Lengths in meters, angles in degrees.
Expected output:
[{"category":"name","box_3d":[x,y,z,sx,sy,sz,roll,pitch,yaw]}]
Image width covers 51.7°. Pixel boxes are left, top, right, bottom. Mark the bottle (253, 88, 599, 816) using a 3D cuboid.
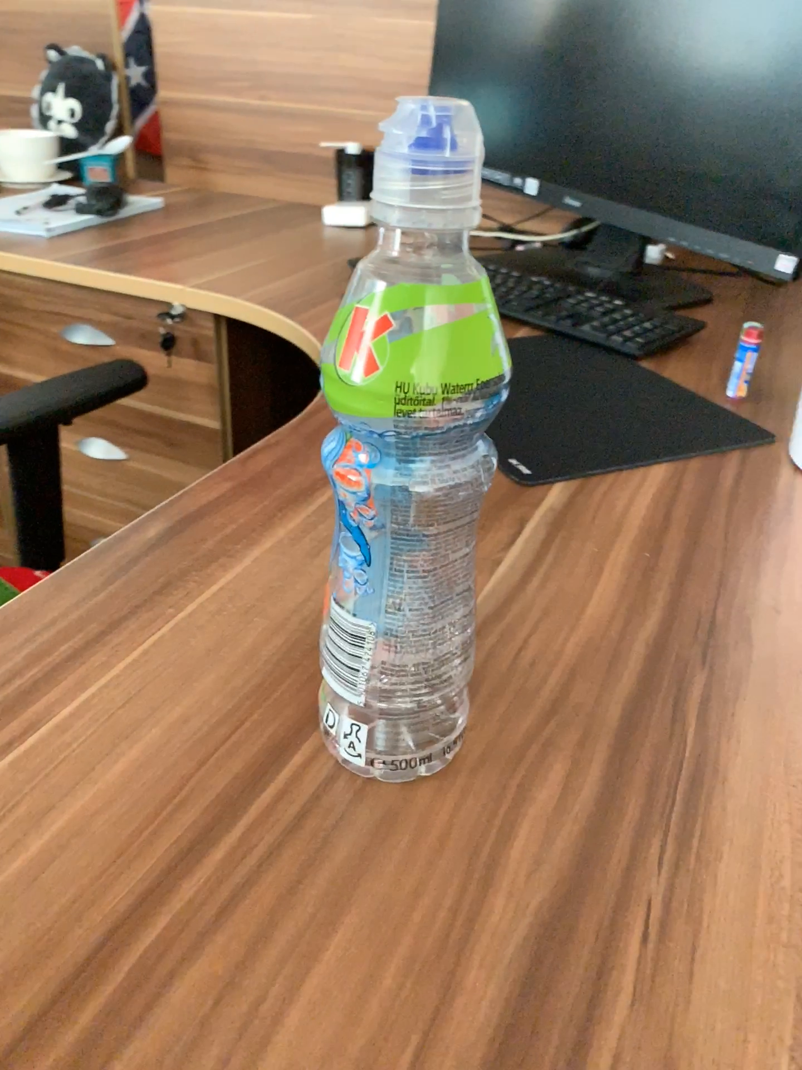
[{"category":"bottle","box_3d":[0.000,-0.021,0.296,0.070,0.239,0.070,3,30,-2]}]
